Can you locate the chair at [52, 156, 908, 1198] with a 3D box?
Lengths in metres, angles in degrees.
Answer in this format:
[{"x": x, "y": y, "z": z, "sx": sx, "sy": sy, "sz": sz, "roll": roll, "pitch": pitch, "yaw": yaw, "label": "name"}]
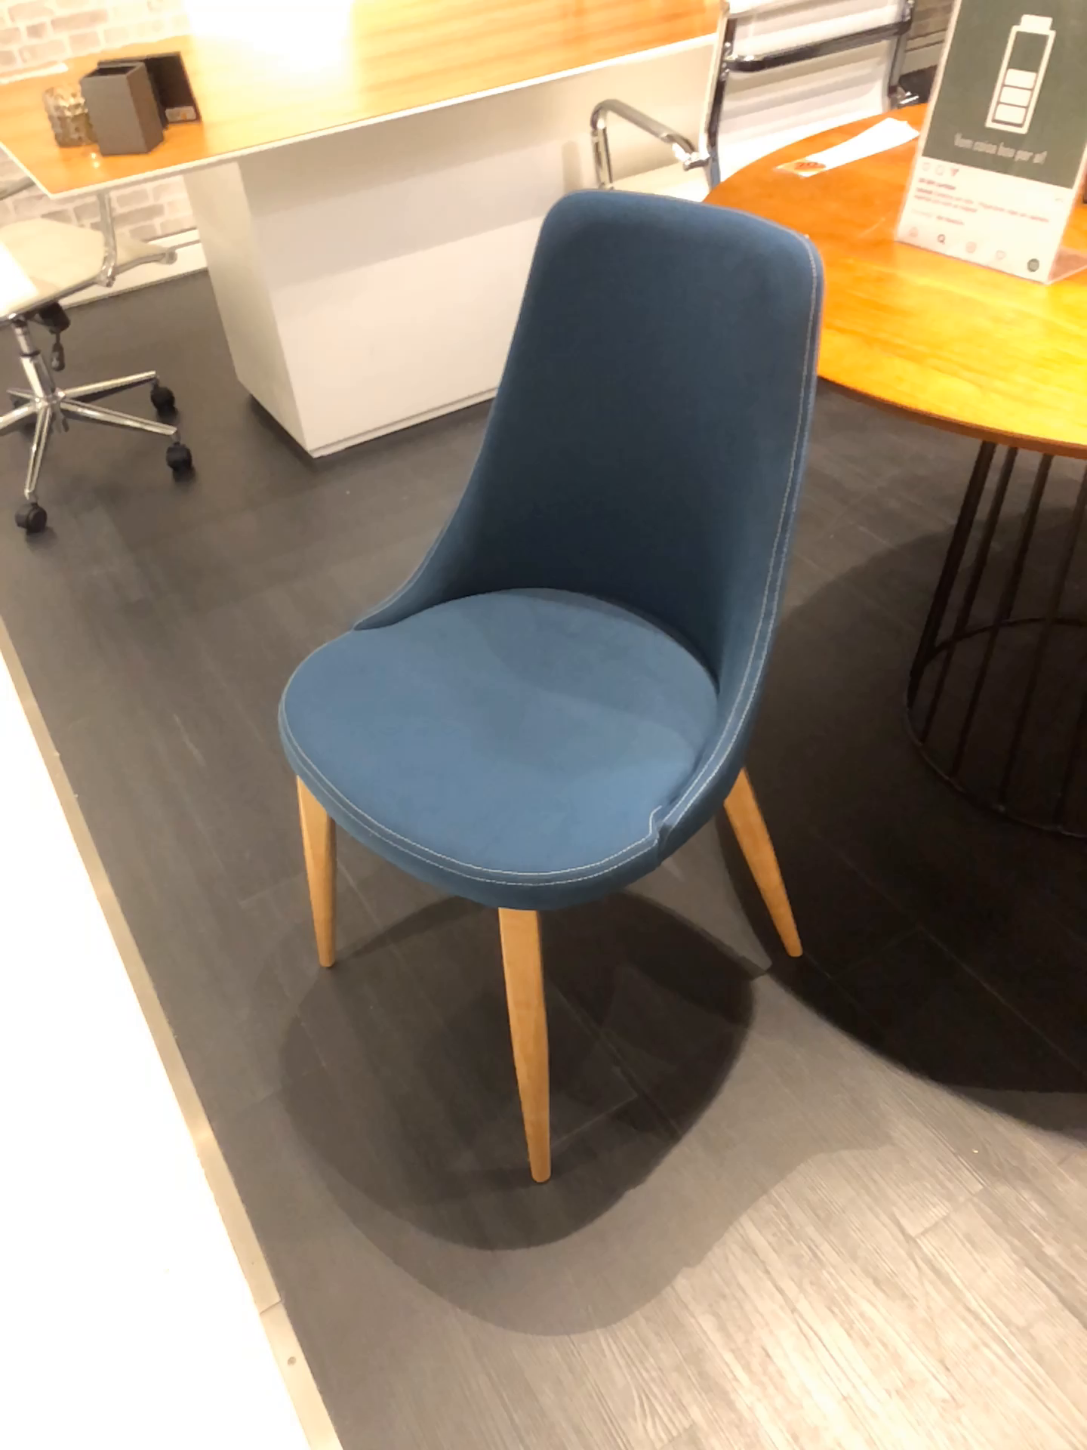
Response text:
[{"x": -0.026, "y": -0.059, "z": 1.307, "sx": 0.542, "sy": 0.854, "sz": 0.522, "roll": -33, "pitch": 46, "yaw": -28, "label": "chair"}]
